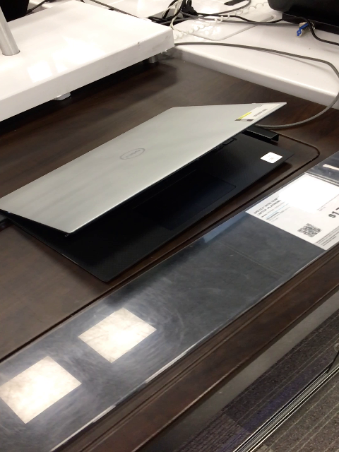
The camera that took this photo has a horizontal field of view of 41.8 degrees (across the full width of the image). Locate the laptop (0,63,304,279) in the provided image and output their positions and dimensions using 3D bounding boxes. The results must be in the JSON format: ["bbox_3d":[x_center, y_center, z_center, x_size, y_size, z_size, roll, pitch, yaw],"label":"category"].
[{"bbox_3d":[-0.030,-0.082,0.540,0.296,0.074,0.190,-37,55,-22],"label":"laptop"}]
